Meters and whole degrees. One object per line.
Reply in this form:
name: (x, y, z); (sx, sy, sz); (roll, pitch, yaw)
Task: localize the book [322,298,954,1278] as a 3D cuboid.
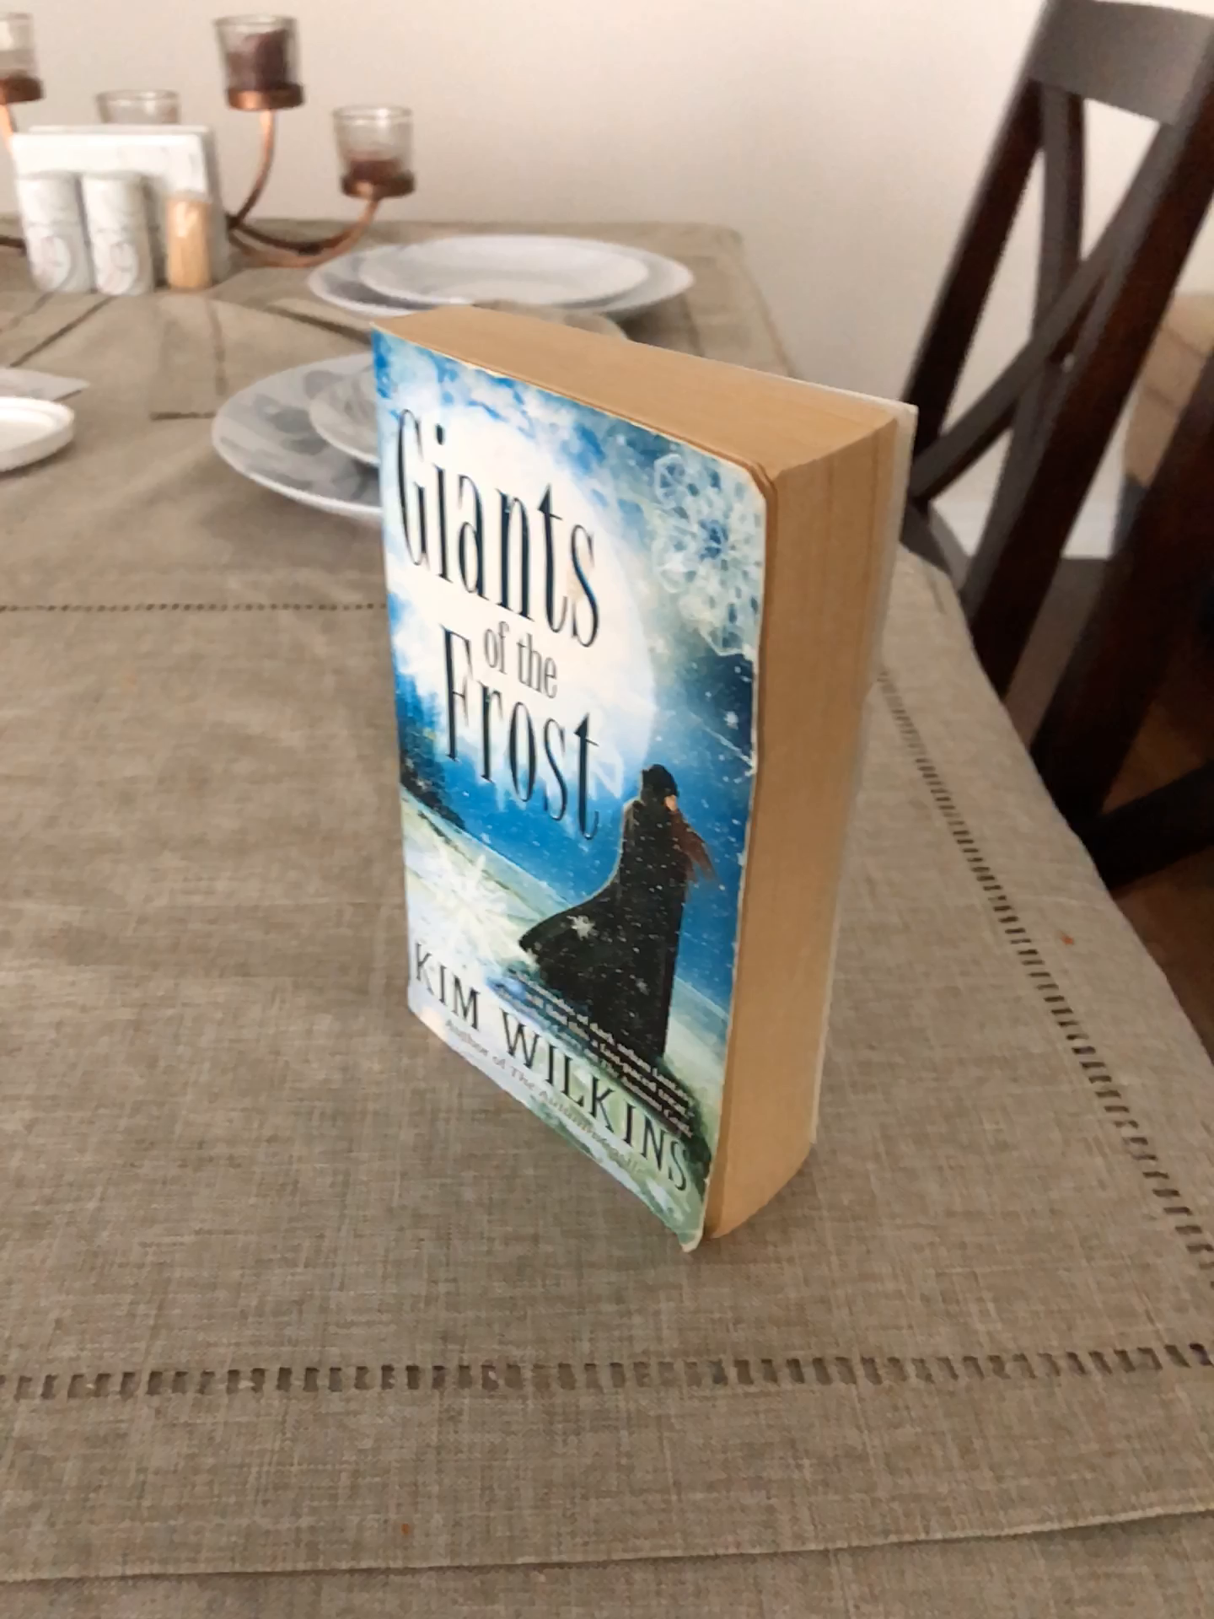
book: (-0.002, -0.005, 0.279); (0.043, 0.168, 0.111); (-26, 41, -38)
